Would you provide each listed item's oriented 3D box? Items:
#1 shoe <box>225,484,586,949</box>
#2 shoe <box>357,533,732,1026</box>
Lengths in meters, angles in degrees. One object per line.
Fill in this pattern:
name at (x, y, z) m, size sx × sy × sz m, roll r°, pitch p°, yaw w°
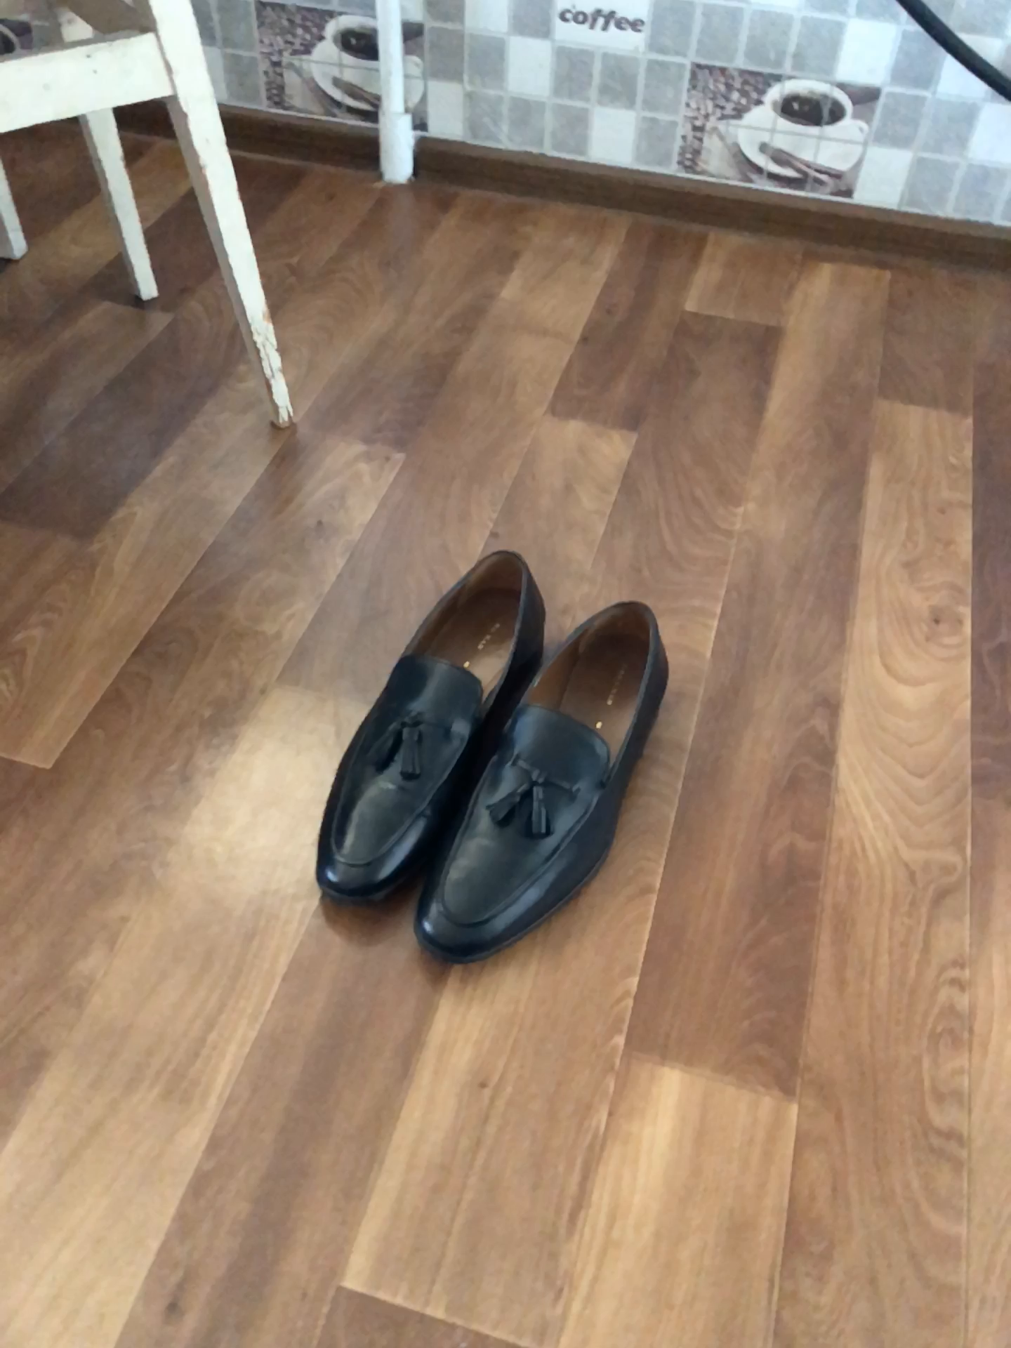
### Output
shoe at (-0.054, 0.016, 0.768) m, size 0.110 × 0.119 × 0.302 m, roll 19°, pitch 50°, yaw 14°
shoe at (0.035, 0.056, 0.735) m, size 0.110 × 0.119 × 0.302 m, roll 23°, pitch 51°, yaw 17°
